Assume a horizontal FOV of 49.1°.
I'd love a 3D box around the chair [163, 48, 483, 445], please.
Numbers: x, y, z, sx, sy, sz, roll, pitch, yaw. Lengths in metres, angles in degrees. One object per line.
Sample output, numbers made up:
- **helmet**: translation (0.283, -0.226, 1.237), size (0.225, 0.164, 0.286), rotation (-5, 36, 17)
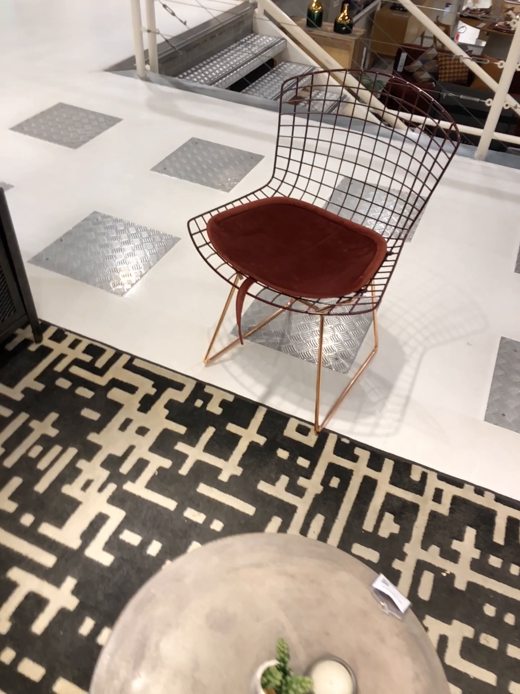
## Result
- **chair**: translation (0.129, -0.264, 1.508), size (0.511, 0.764, 0.503), rotation (31, 49, 25)
